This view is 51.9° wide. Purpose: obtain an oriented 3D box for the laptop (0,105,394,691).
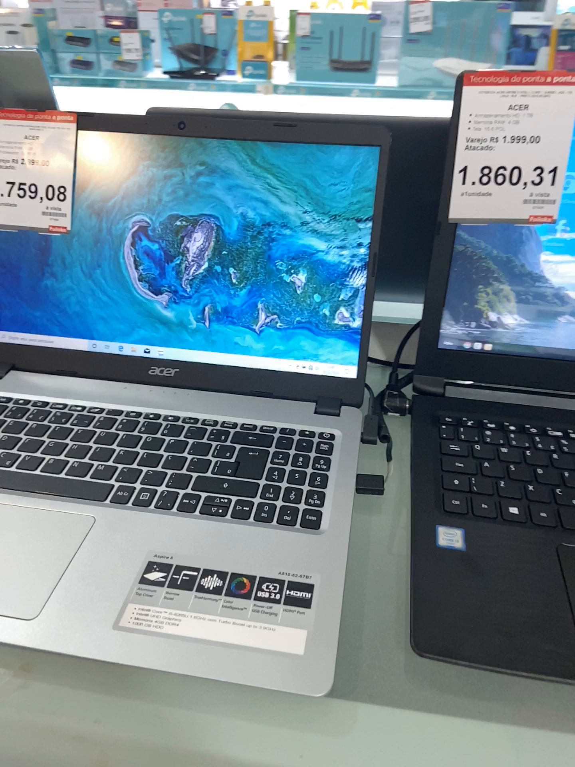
[{"bbox_3d":[-0.119,-0.049,0.410,0.350,0.198,0.364,5,34,9],"label":"laptop"}]
